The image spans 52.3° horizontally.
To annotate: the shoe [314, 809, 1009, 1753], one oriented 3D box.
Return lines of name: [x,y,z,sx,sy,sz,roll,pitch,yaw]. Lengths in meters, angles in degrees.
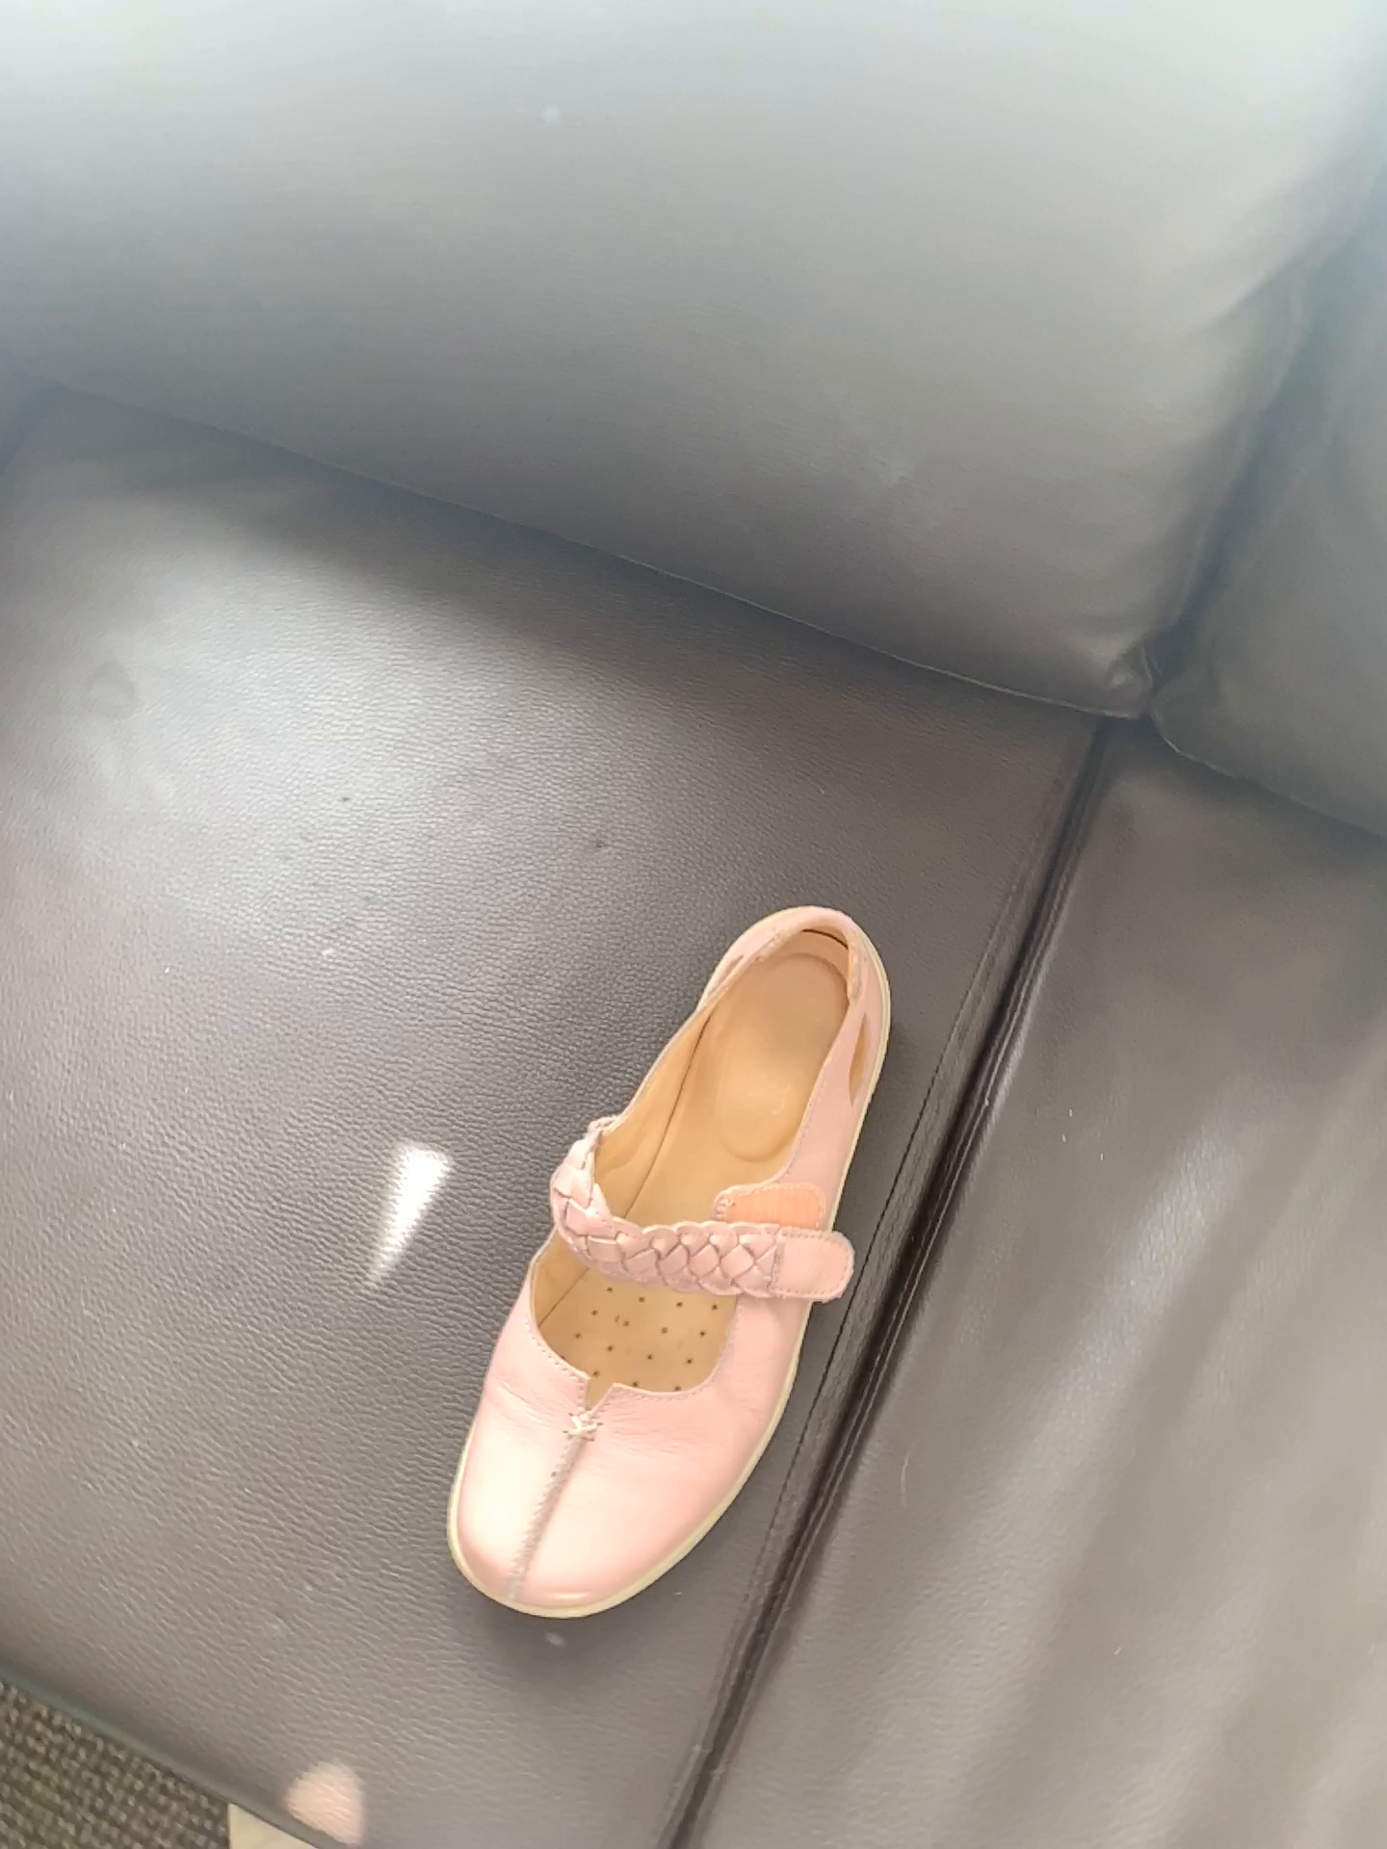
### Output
shoe: [-0.001,0.110,0.478,0.104,0.100,0.261,25,75,11]
